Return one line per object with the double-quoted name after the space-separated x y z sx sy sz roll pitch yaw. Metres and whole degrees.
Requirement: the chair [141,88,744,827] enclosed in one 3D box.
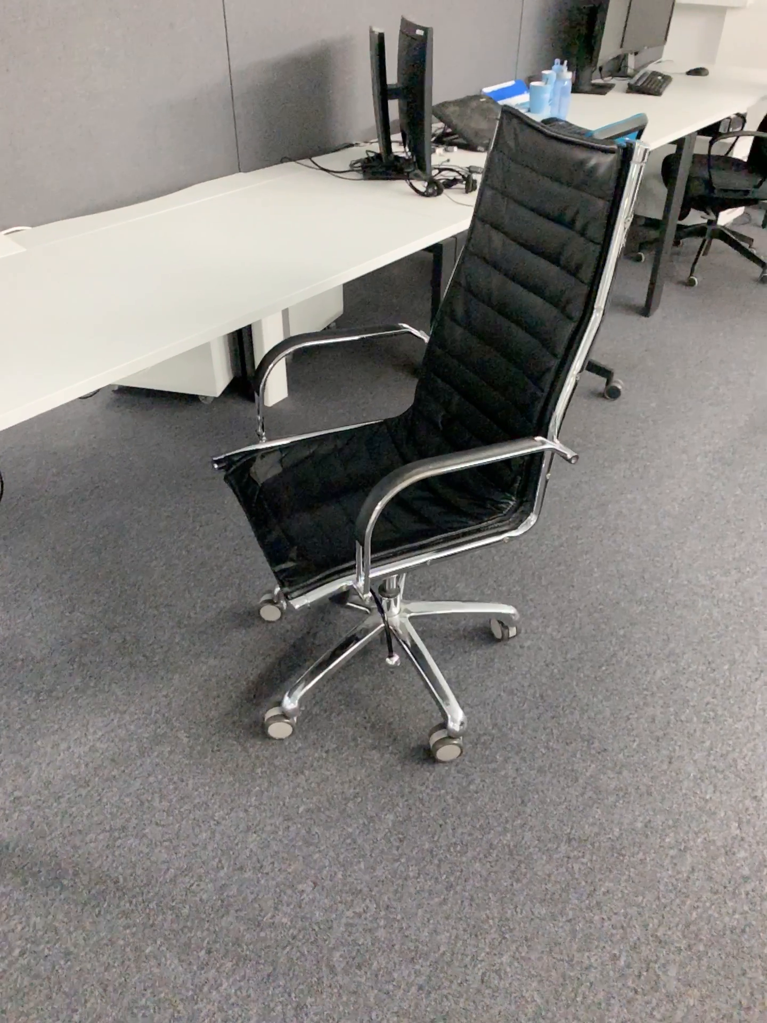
0.030 -0.105 1.505 0.691 1.133 0.643 -13 39 -18 "chair"
